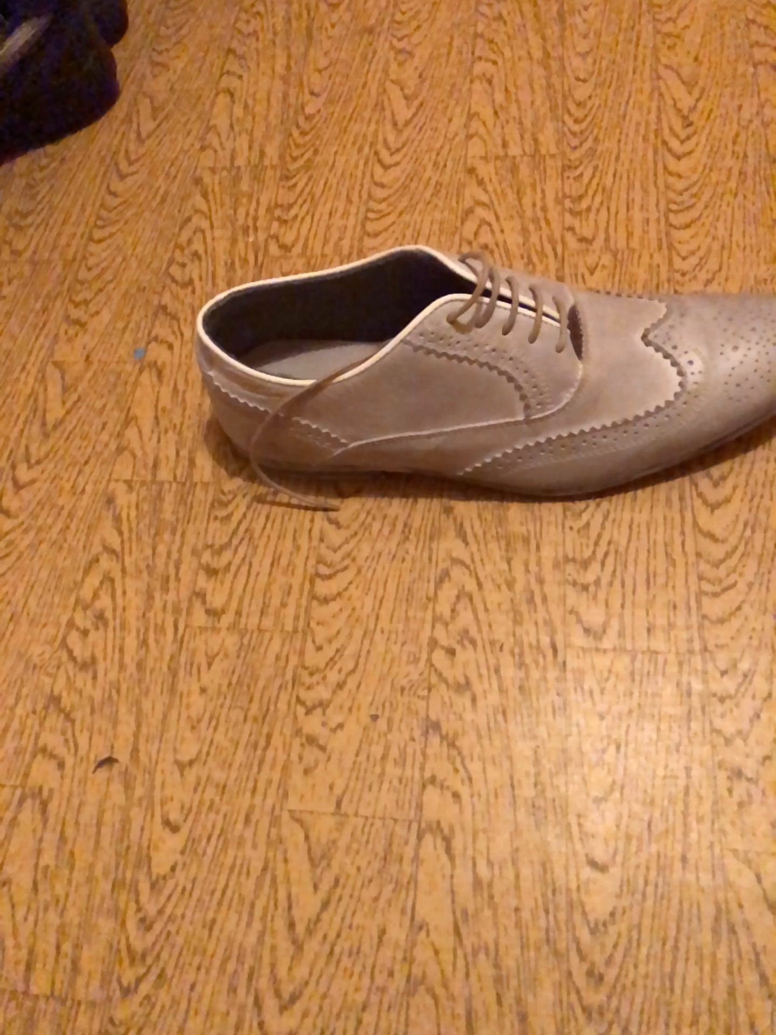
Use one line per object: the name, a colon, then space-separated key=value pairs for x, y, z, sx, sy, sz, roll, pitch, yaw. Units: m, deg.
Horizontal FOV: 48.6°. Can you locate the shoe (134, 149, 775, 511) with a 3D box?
shoe: x=0.053 y=-0.080 z=0.407 sx=0.300 sy=0.110 sz=0.110 roll=-1 pitch=62 yaw=7
